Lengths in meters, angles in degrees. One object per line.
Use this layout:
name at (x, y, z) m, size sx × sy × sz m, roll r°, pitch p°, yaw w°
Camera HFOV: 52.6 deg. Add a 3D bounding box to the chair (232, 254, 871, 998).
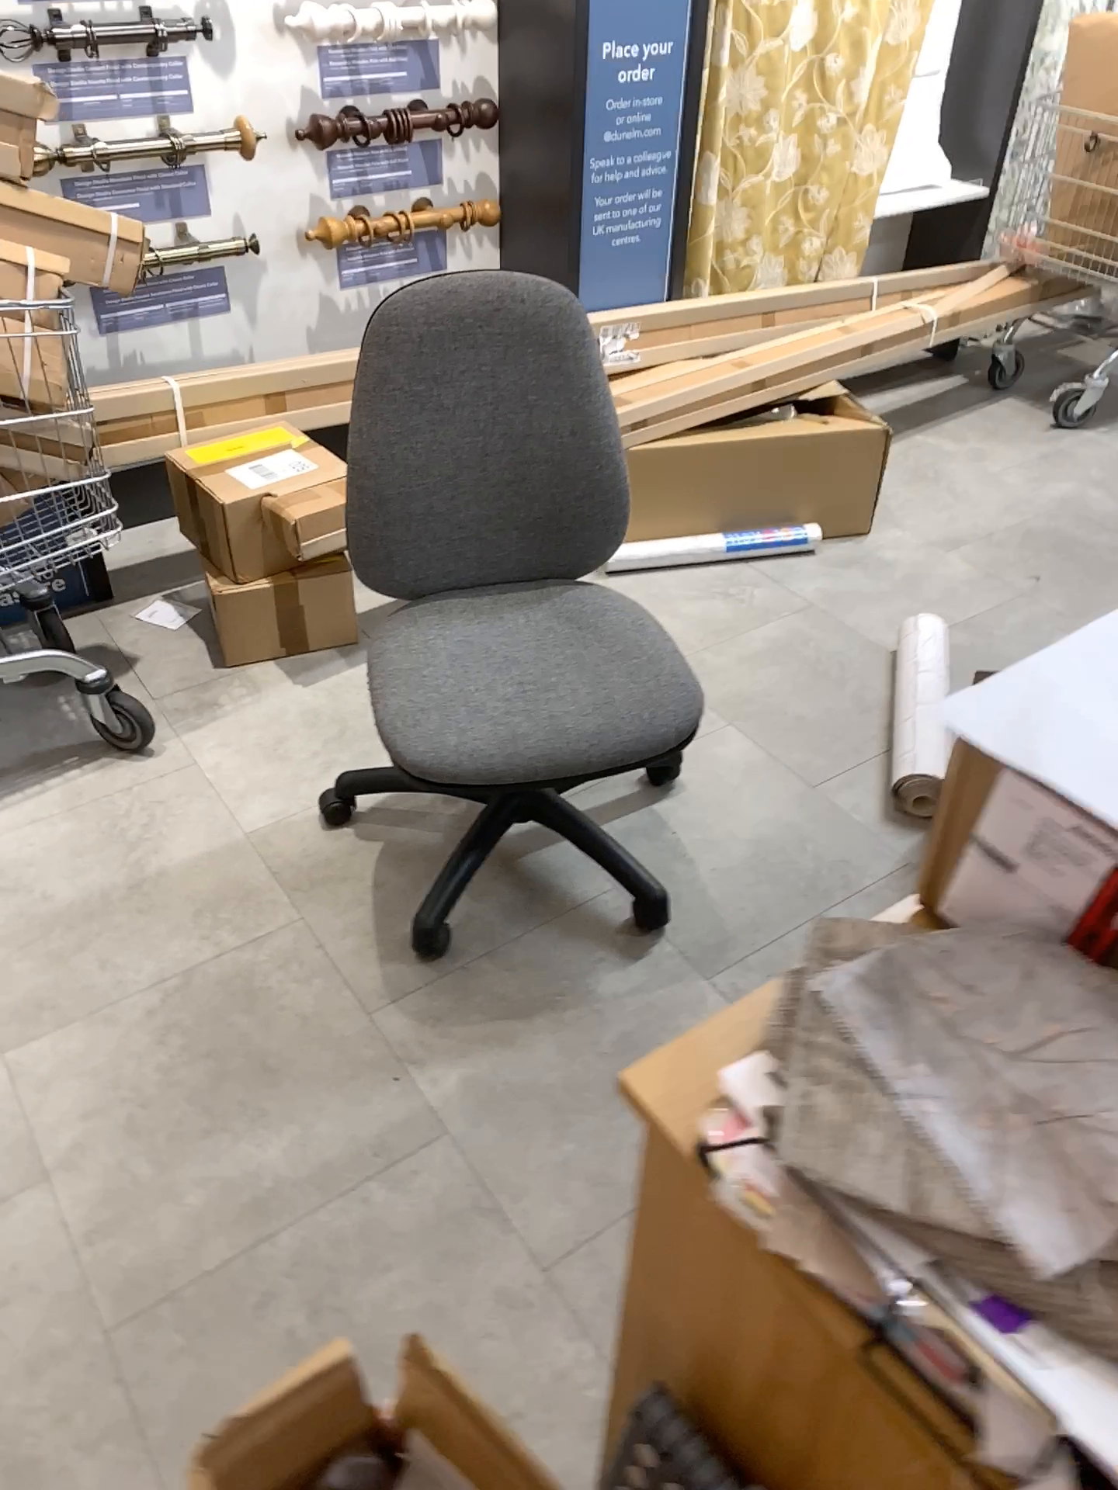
chair at (-0.065, -0.192, 1.596) m, size 0.627 × 0.750 × 0.629 m, roll -9°, pitch 40°, yaw -13°
